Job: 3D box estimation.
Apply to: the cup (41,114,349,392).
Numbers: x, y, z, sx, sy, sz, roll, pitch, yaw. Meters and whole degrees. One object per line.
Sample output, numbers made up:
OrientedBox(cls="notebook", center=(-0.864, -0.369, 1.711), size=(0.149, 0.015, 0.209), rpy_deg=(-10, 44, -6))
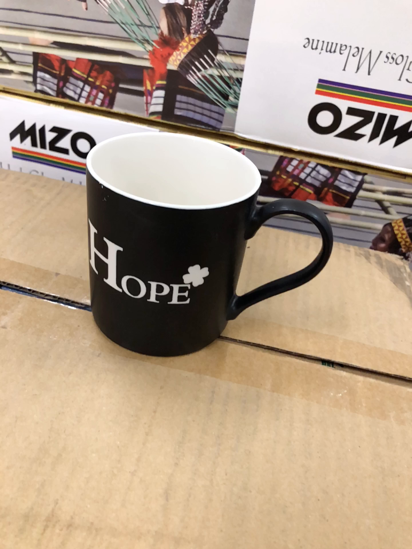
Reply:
OrientedBox(cls="cup", center=(-0.005, -0.014, 0.238), size=(0.120, 0.089, 0.091), rpy_deg=(10, 36, 0))
